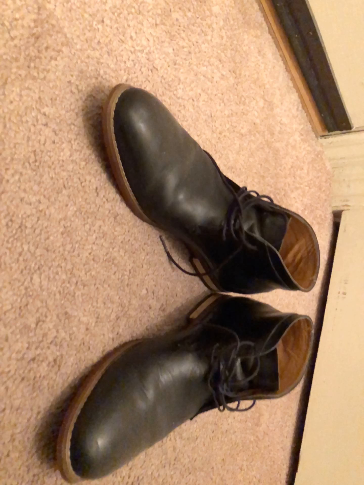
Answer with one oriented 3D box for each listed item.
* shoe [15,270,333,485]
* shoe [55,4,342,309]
[{"bbox_3d":[0.028,0.141,0.389,0.304,0.135,0.116,-29,114,-48],"label":"shoe"},{"bbox_3d":[0.048,-0.049,0.414,0.303,0.135,0.116,42,59,-45],"label":"shoe"}]
